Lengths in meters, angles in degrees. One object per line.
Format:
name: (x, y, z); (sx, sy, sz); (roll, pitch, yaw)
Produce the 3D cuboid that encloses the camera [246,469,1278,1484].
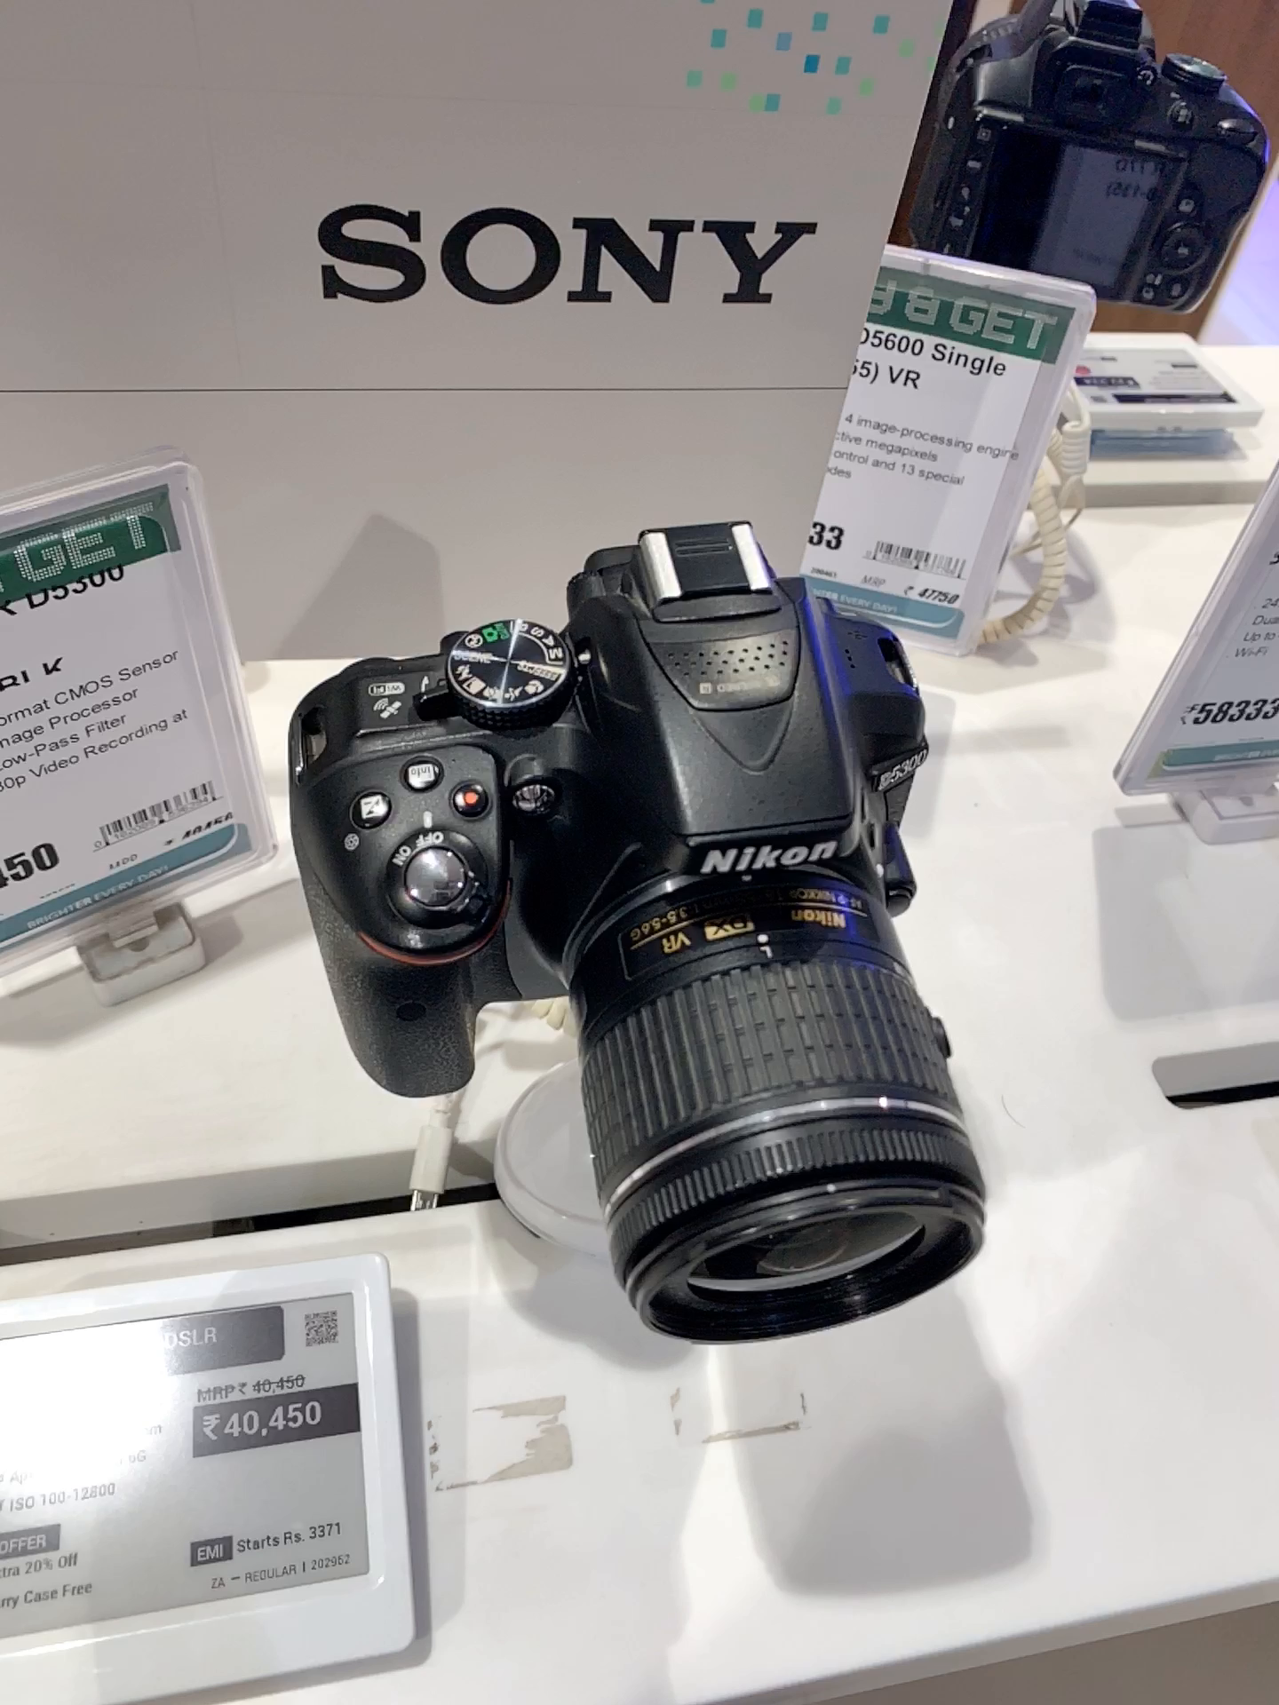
camera: (0.012, 0.009, 0.214); (0.130, 0.070, 0.130); (-7, 50, -14)
